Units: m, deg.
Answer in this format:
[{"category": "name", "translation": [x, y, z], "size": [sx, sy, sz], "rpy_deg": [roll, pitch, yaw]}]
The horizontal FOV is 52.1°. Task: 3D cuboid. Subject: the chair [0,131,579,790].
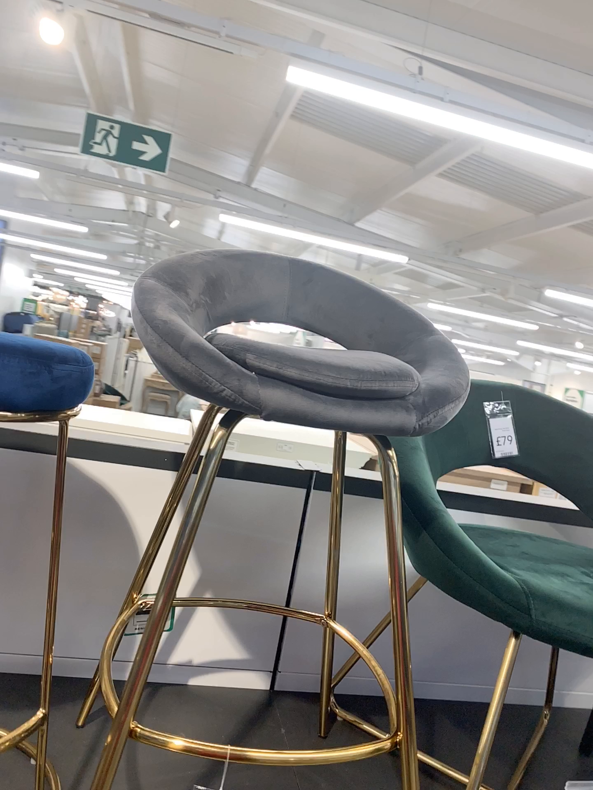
[{"category": "chair", "translation": [-0.043, 0.193, 0.882], "size": [0.486, 0.873, 0.475], "rpy_deg": [10, 2, -13]}]
